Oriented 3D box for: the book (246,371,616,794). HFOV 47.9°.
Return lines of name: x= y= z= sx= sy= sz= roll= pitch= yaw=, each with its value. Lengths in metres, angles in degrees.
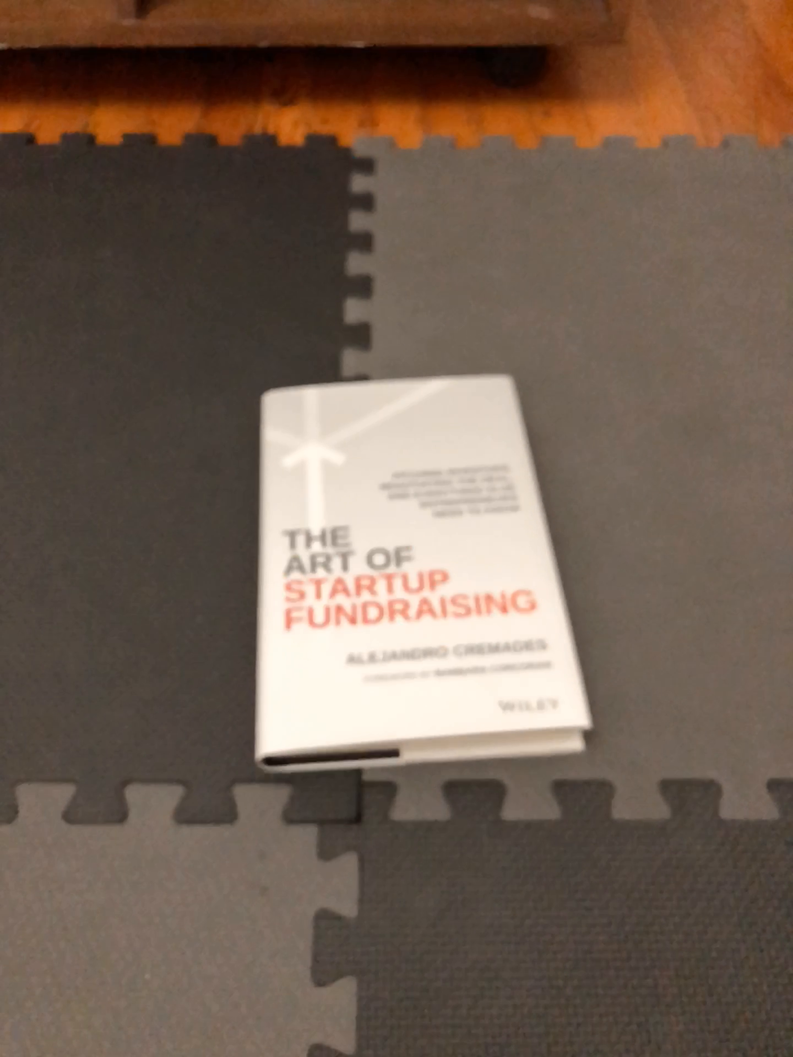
book: x=0.009 y=0.014 z=0.496 sx=0.170 sy=0.030 sz=0.251 roll=-3 pitch=53 yaw=-2
